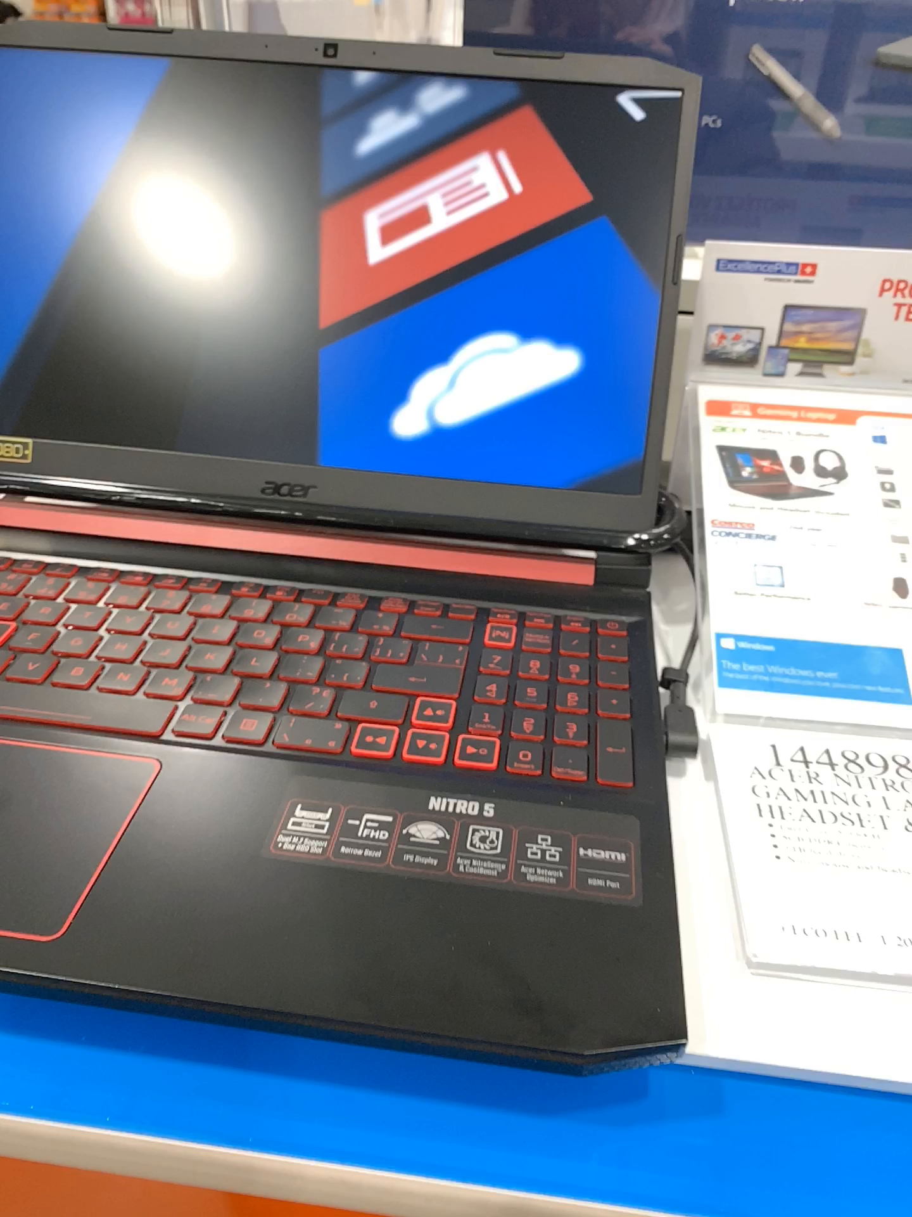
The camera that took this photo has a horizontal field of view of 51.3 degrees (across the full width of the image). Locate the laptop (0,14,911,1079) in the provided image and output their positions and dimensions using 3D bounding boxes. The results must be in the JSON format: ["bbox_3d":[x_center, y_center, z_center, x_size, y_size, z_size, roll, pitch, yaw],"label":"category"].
[{"bbox_3d":[-0.093,-0.096,0.368,0.358,0.198,0.381,6,34,6],"label":"laptop"}]
